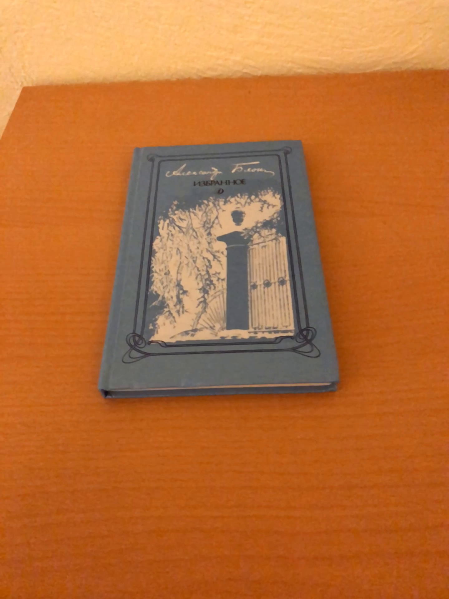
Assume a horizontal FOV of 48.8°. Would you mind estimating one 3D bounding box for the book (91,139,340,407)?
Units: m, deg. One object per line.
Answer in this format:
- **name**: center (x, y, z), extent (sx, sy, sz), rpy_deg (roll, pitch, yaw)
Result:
- **book**: center (-0.007, -0.032, 0.337), extent (0.135, 0.020, 0.211), rpy_deg (-2, 54, 2)
